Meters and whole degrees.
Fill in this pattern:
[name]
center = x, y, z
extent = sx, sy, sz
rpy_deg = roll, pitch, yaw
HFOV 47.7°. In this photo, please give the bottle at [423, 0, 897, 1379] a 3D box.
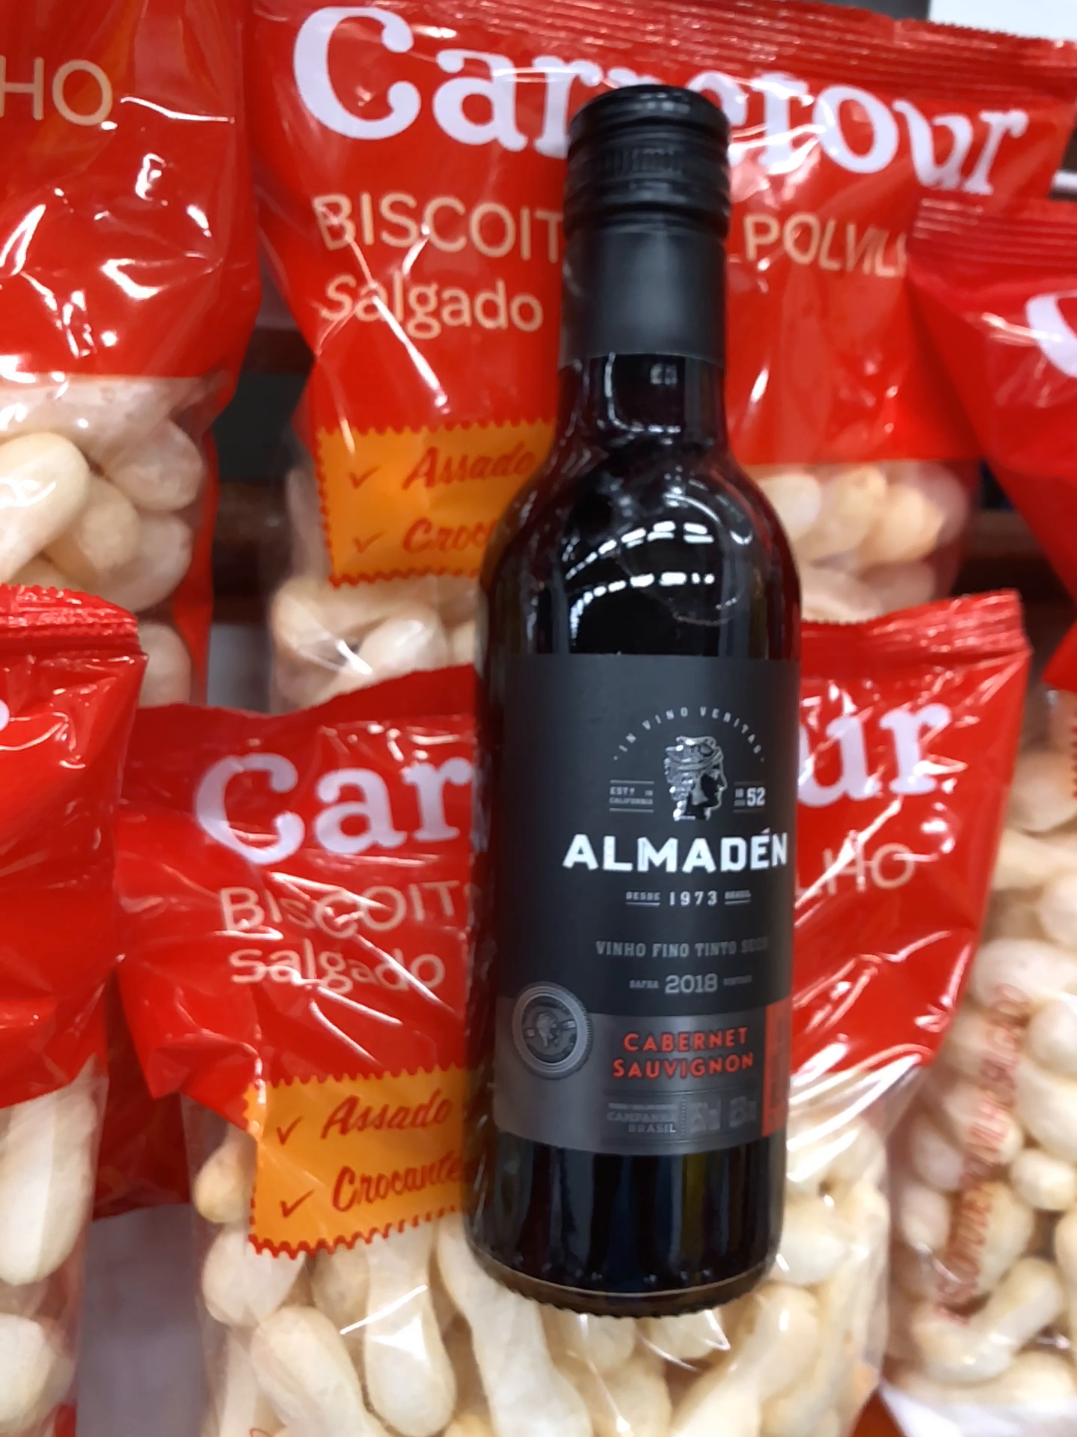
[bottle]
center = 0.017, -0.011, 0.199
extent = 0.060, 0.050, 0.200
rpy_deg = 1, 87, -19
